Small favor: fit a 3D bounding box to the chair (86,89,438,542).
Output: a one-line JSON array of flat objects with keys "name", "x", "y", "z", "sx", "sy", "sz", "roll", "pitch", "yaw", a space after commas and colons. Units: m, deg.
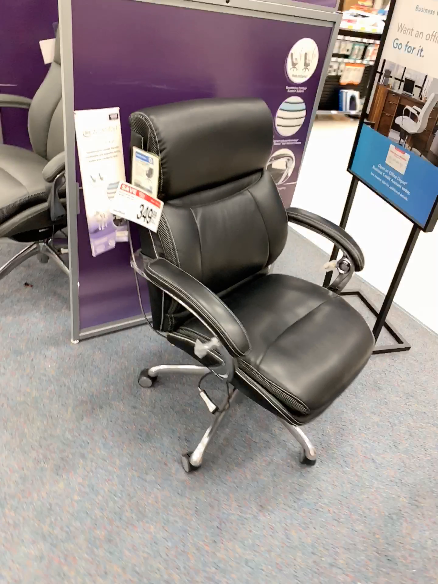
[{"name": "chair", "x": 0.136, "y": -0.010, "z": 1.396, "sx": 0.782, "sy": 0.946, "sz": 0.741, "roll": 34, "pitch": 41, "yaw": 29}]
